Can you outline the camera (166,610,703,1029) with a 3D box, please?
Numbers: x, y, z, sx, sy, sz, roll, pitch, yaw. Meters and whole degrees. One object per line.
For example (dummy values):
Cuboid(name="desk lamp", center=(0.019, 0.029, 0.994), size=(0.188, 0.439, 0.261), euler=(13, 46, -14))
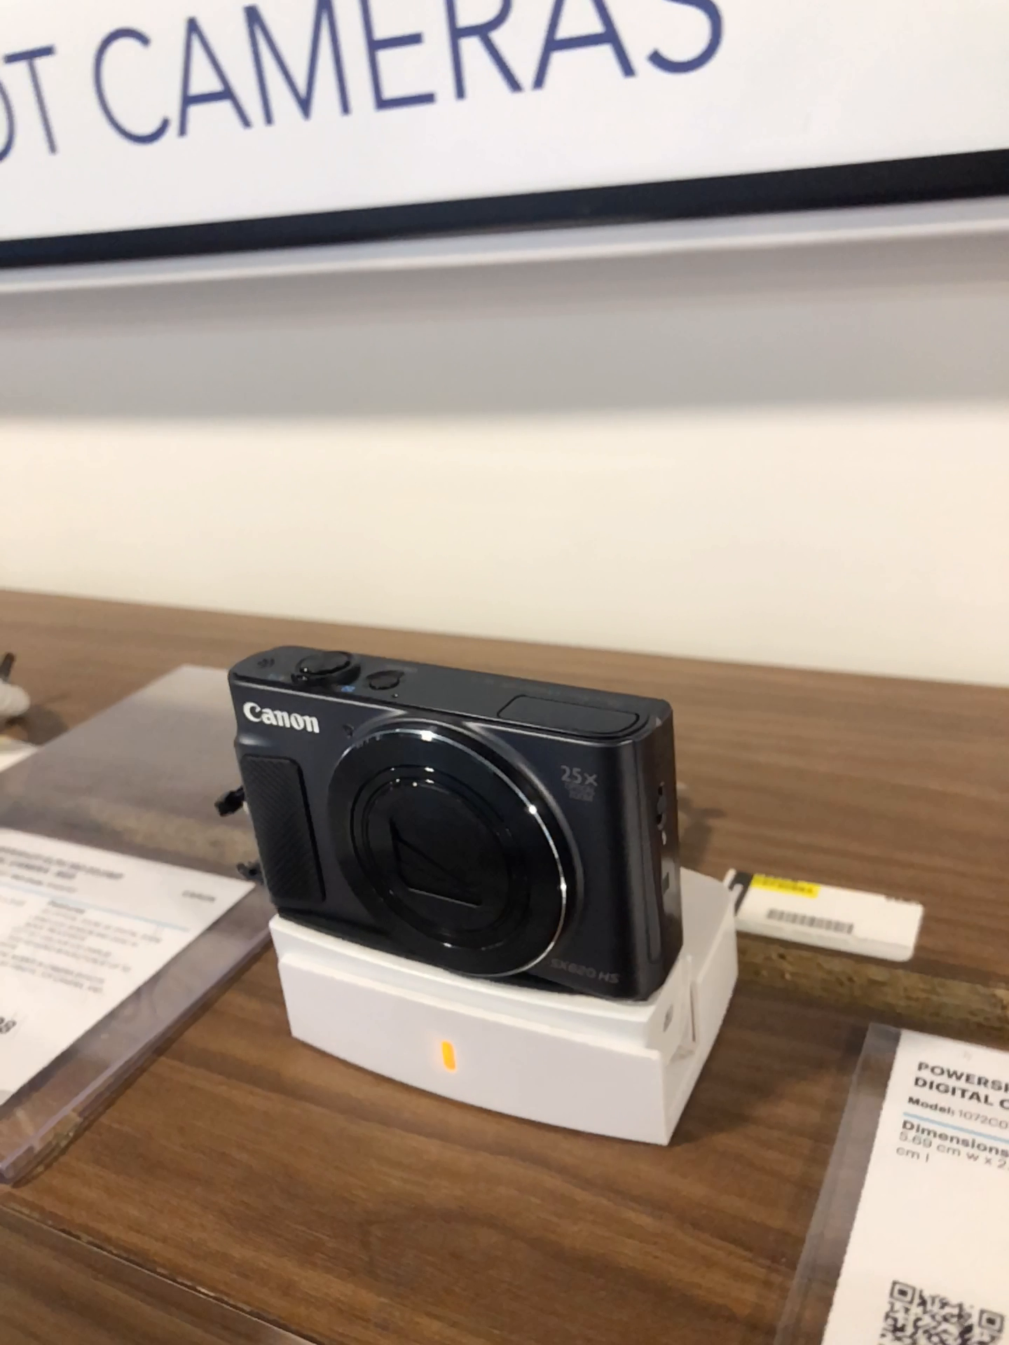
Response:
Cuboid(name="camera", center=(-0.014, 0.025, 0.225), size=(0.100, 0.060, 0.030), euler=(7, 24, 27))
